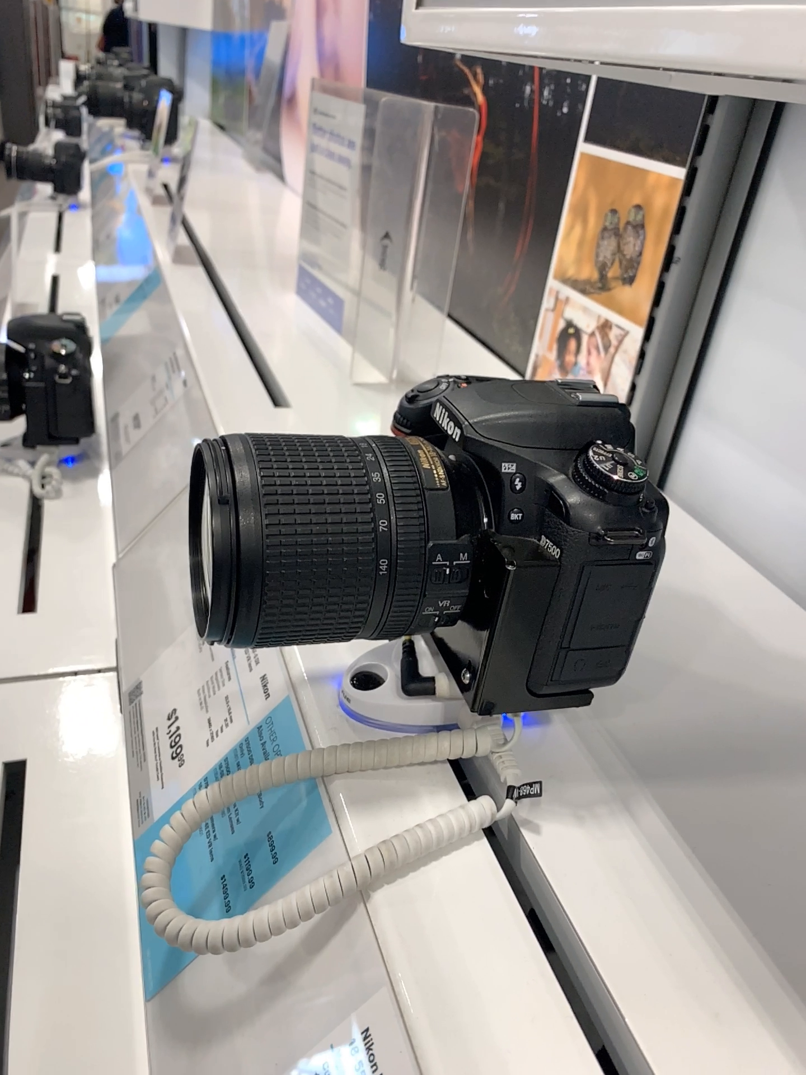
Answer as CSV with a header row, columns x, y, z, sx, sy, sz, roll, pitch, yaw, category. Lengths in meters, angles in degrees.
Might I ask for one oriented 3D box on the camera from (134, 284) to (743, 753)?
x,y,z,sx,sy,sz,roll,pitch,yaw,category
-0.001,-0.014,0.314,0.172,0.107,0.131,0,29,-24,camera
